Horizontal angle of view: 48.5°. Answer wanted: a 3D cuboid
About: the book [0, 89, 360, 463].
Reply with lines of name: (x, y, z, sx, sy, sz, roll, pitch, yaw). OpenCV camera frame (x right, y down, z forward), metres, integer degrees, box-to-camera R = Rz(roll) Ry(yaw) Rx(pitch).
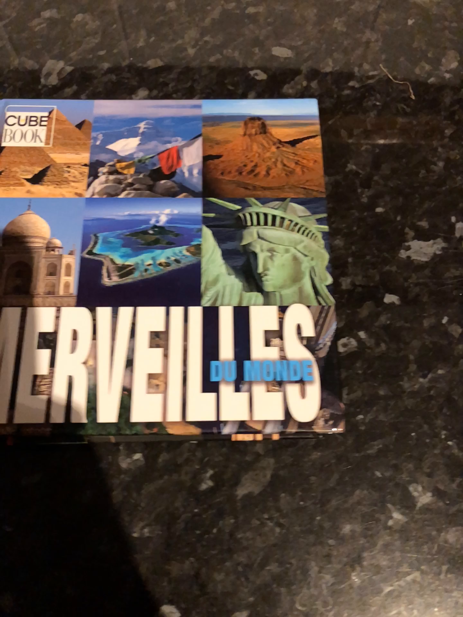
book: (-0.040, -0.015, 0.239, 0.170, 0.060, 0.160, -1, 71, 0)
